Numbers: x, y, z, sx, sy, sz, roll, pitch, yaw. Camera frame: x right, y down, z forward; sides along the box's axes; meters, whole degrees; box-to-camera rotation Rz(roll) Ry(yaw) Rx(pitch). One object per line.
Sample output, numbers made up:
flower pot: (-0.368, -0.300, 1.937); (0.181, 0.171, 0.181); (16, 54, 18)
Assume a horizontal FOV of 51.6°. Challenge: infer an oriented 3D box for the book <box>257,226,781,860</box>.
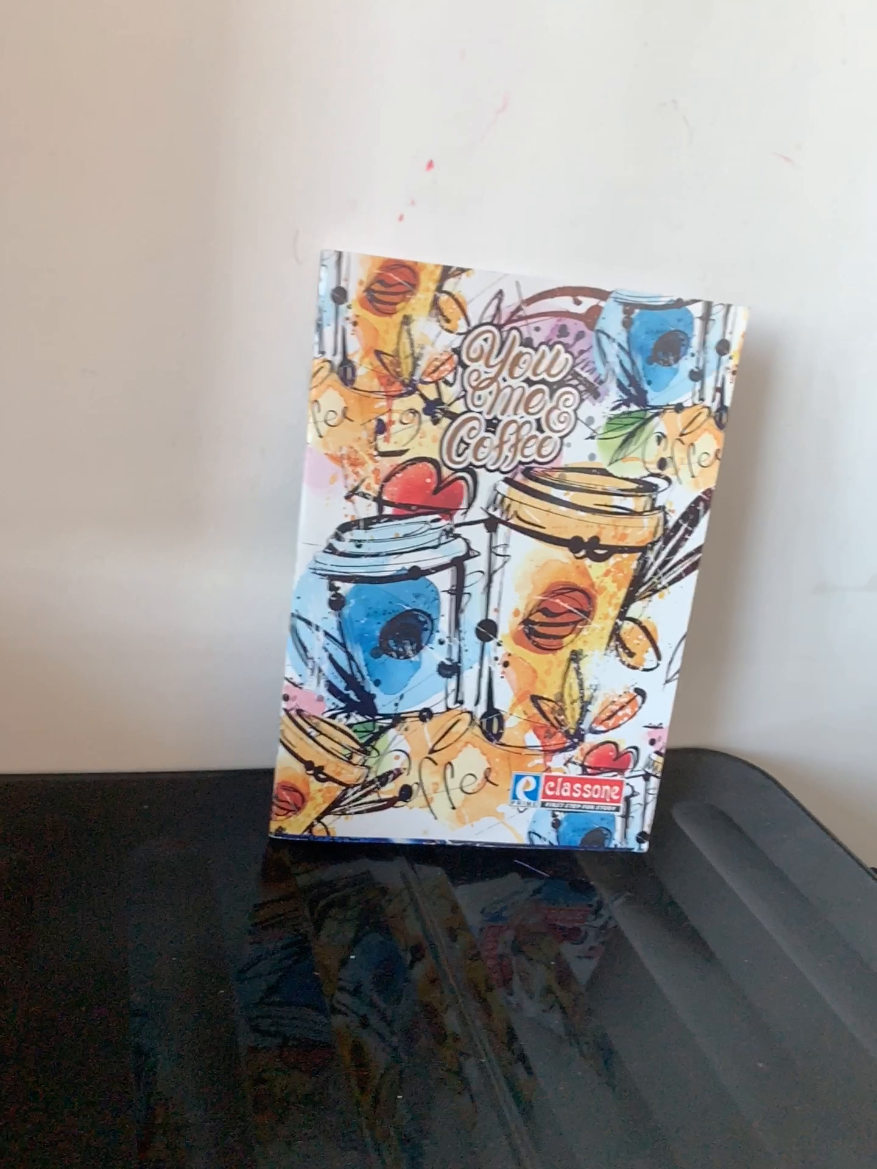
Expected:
book: (0.033, -0.007, 0.473); (0.220, 0.299, 0.050); (6, 13, -13)
